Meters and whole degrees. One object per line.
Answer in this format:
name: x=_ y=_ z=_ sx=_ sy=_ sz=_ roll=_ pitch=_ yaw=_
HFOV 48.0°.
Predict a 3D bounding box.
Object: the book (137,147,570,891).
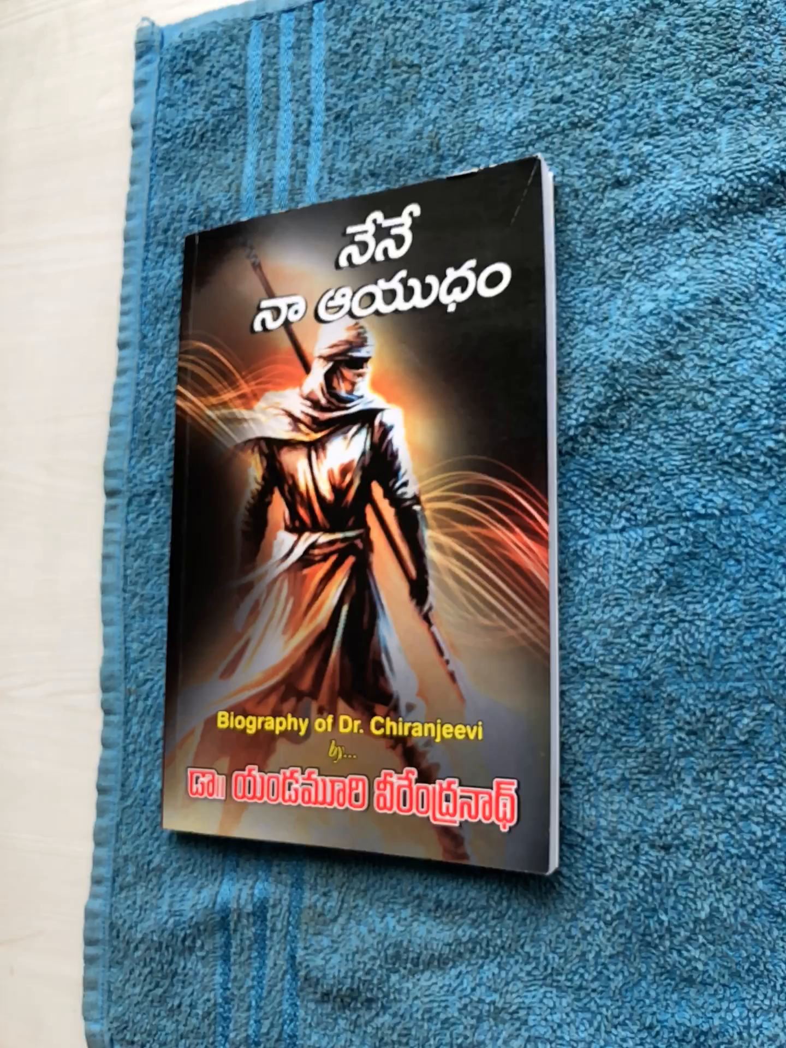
book: x=-0.014 y=-0.003 z=0.299 sx=0.140 sy=0.030 sz=0.220 roll=-2 pitch=82 yaw=22
